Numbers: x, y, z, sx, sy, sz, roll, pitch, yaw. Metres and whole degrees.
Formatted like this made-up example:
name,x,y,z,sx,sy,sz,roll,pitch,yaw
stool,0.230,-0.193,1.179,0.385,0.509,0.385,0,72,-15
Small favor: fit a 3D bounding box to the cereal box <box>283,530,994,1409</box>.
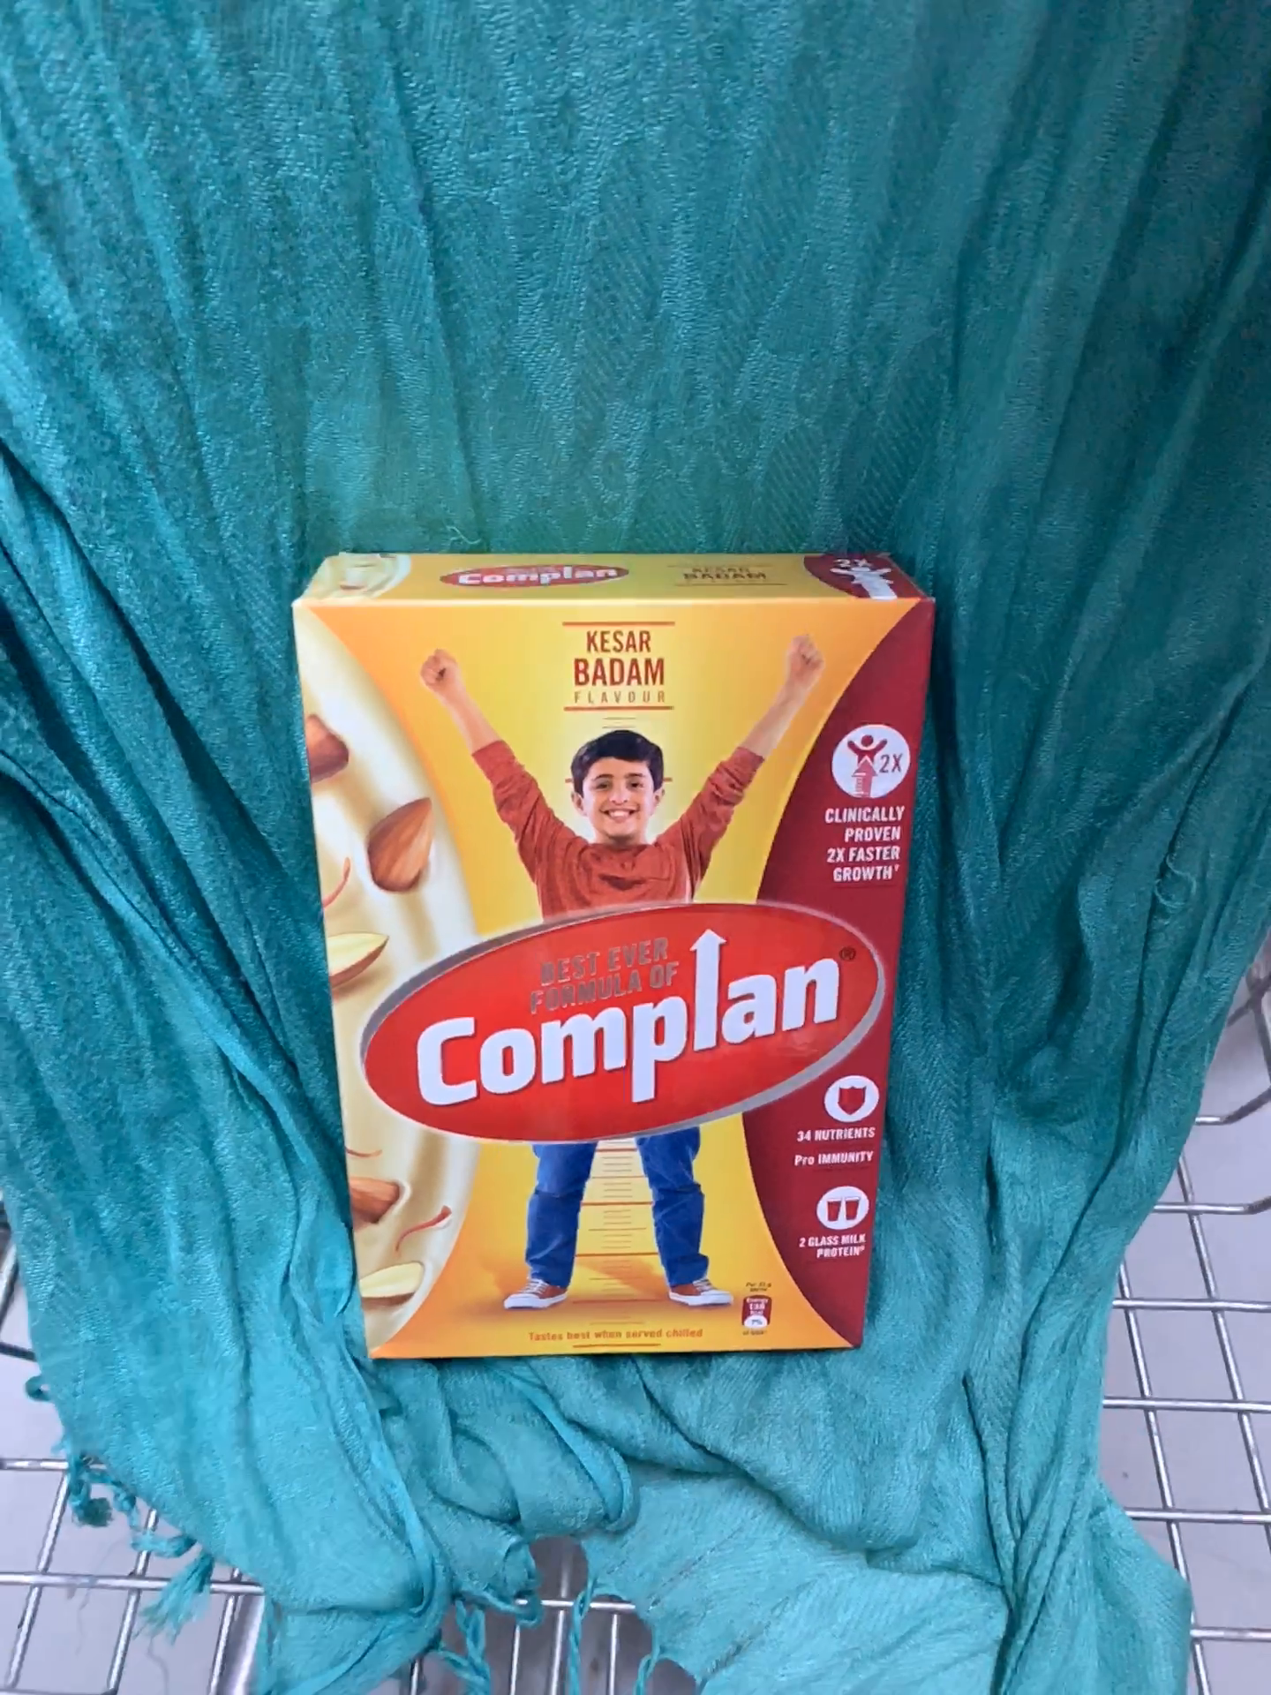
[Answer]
name,x,y,z,sx,sy,sz,roll,pitch,yaw
cereal box,0.002,0.029,0.315,0.140,0.200,0.060,-1,17,0
